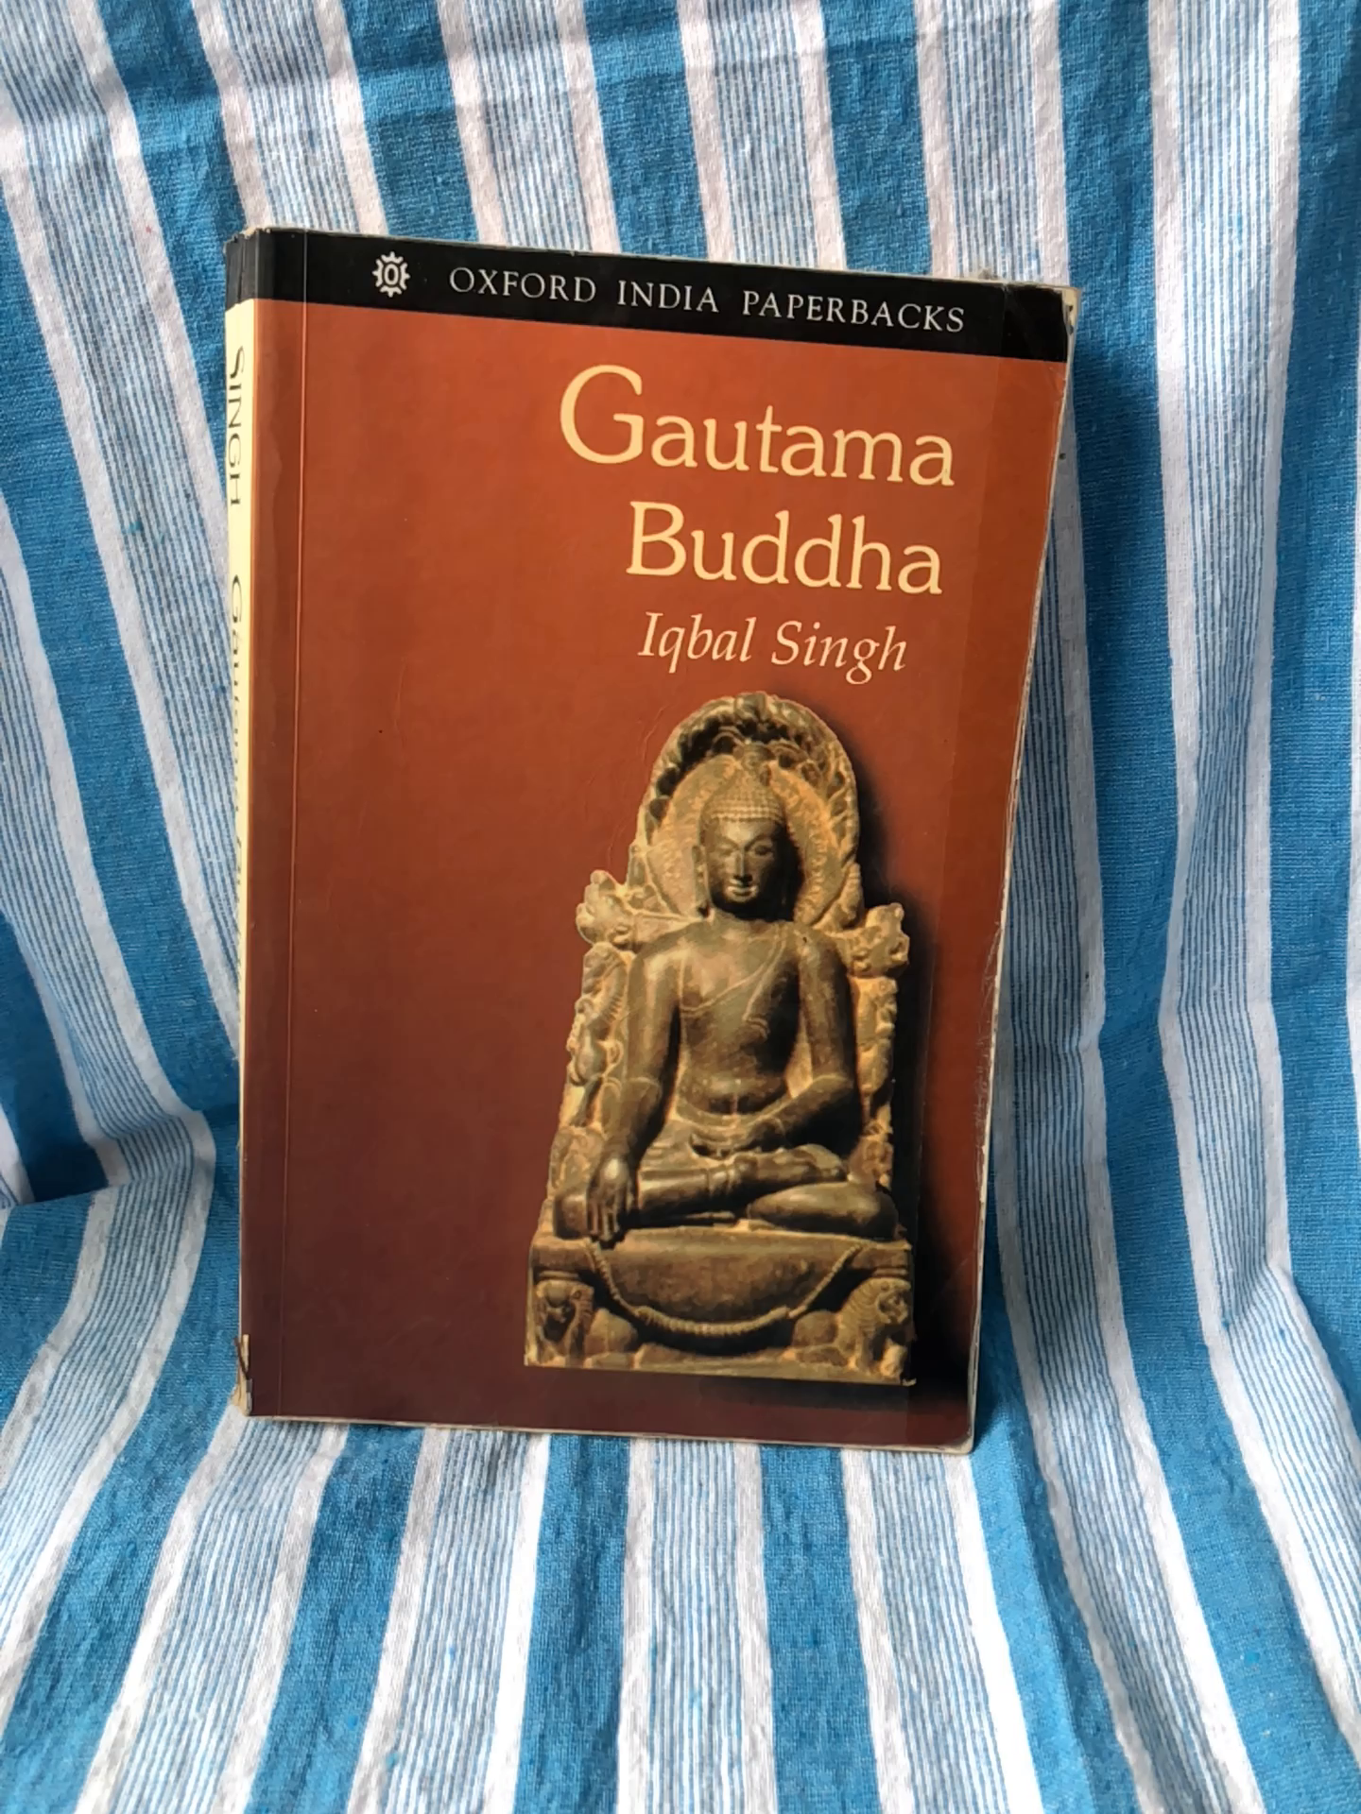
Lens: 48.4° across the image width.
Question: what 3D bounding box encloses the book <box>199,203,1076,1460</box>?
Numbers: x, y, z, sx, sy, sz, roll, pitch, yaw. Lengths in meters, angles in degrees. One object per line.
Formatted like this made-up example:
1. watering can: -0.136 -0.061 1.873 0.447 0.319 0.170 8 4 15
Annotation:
1. book: -0.010 -0.010 0.277 0.140 0.210 0.040 2 9 1
